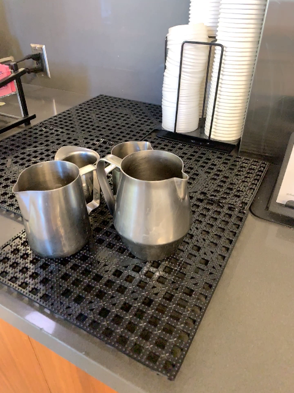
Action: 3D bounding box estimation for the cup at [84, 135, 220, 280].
[{"bbox_3d":[0.004,0.007,0.413,0.141,0.119,0.100,28,44,34],"label":"cup"}]

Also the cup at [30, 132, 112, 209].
[{"bbox_3d":[-0.122,-0.046,0.491,0.110,0.070,0.070,29,44,35],"label":"cup"}]

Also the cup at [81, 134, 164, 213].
[{"bbox_3d":[-0.036,-0.042,0.485,0.070,0.070,0.110,26,43,32],"label":"cup"}]

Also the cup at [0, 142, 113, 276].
[{"bbox_3d":[-0.121,0.012,0.415,0.080,0.119,0.120,25,42,31],"label":"cup"}]
